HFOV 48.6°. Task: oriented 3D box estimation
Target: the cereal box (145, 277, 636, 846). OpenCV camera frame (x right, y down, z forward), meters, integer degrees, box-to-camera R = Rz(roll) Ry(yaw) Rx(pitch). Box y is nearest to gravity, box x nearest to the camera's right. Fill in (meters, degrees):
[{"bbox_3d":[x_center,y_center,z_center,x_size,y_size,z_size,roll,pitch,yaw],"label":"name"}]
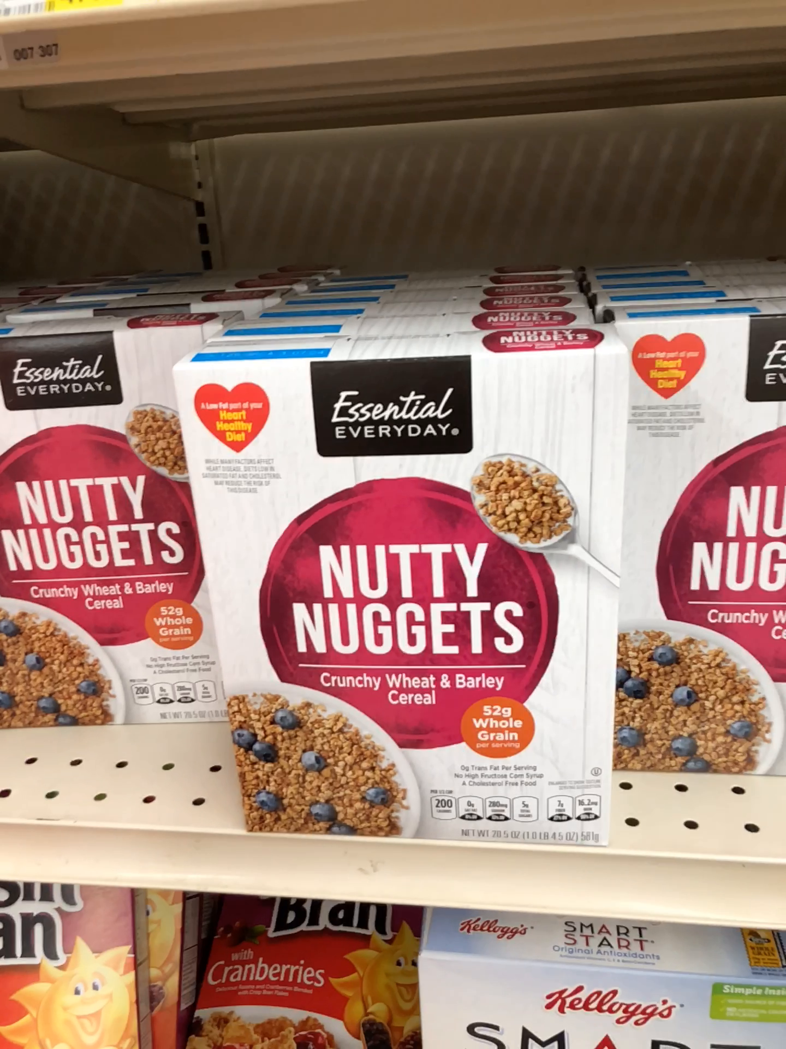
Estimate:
[{"bbox_3d":[0.006,0.022,0.364,0.170,0.229,0.050,-1,22,8],"label":"cereal box"}]
